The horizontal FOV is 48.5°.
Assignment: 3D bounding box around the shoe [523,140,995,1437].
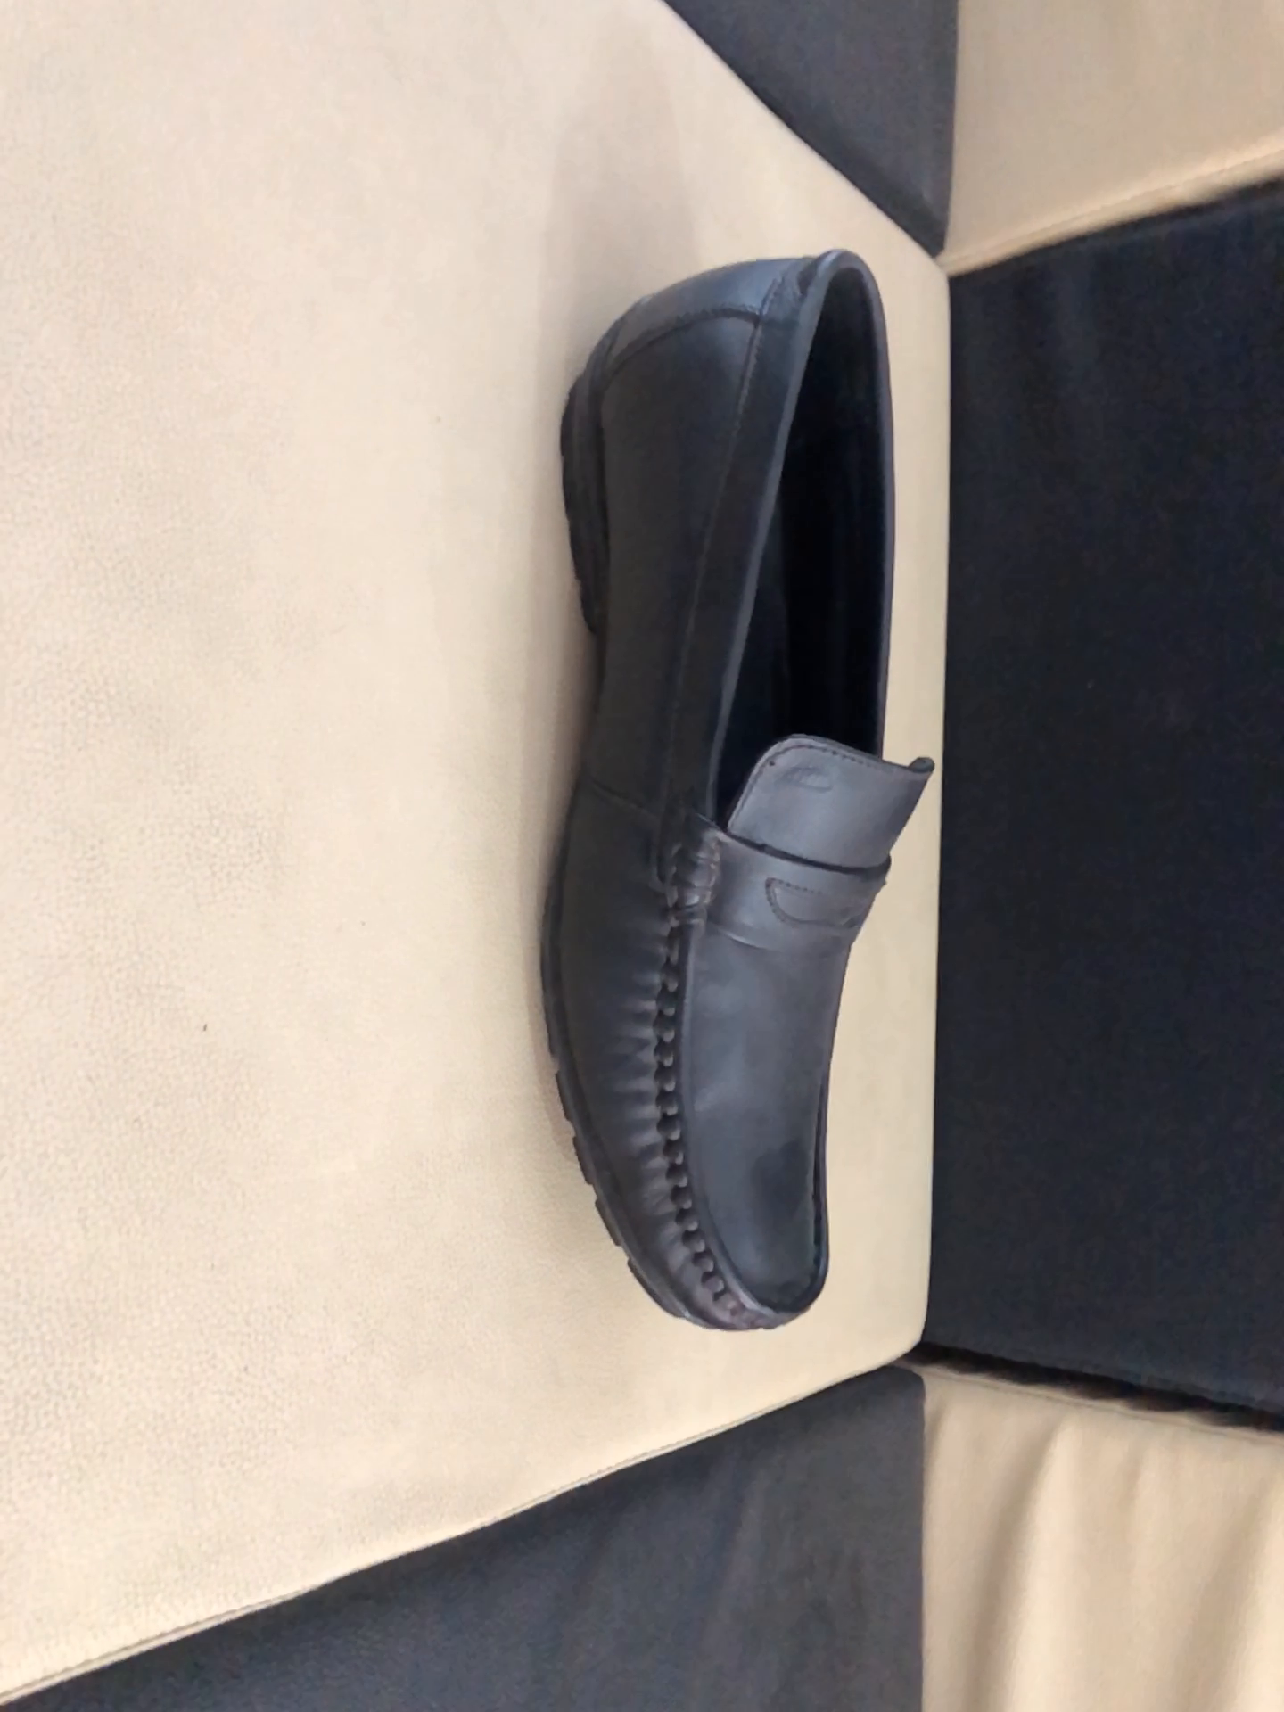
[{"bbox_3d":[0.034,-0.015,0.380,0.101,0.079,0.290,6,83,-52],"label":"shoe"}]
